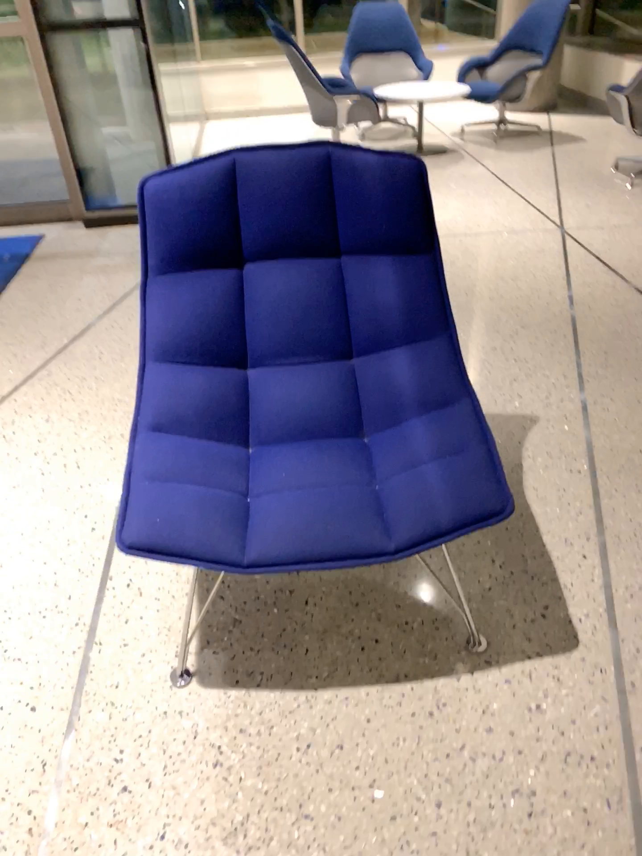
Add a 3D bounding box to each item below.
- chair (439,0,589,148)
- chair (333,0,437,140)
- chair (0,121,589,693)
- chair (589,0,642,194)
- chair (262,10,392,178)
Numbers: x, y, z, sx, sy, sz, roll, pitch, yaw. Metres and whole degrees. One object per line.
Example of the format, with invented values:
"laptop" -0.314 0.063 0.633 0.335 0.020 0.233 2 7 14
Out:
"chair" 1.497 -2.896 5.252 0.761 0.971 0.786 -14 36 -14
"chair" 0.511 -3.008 5.425 0.670 0.942 0.777 -7 35 -5
"chair" -0.045 -0.080 1.463 0.808 0.932 0.787 -5 35 -2
"chair" 2.211 -2.085 4.084 0.640 0.961 0.777 -1 36 4
"chair" 0.036 -2.424 4.708 0.770 0.932 0.807 -7 35 -5
